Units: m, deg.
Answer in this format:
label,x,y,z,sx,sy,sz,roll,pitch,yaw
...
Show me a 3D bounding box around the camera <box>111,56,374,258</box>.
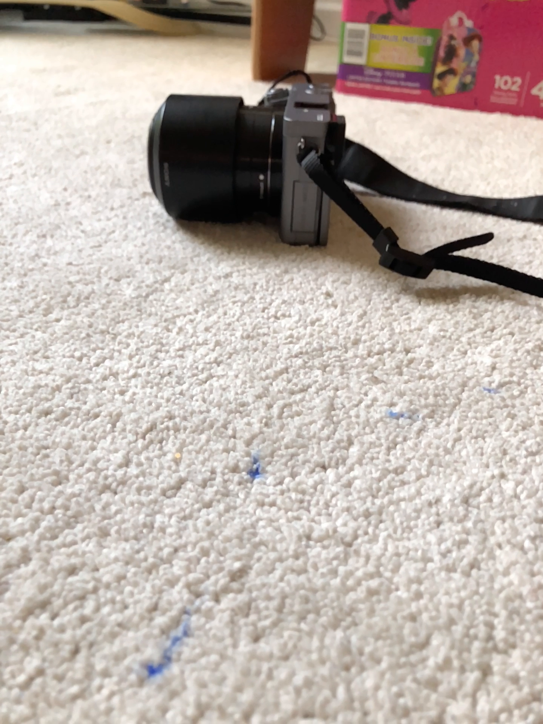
label,x,y,z,sx,sy,sz,roll,pitch,yaw
camera,-0.010,-0.119,0.331,0.110,0.070,0.141,3,32,1
